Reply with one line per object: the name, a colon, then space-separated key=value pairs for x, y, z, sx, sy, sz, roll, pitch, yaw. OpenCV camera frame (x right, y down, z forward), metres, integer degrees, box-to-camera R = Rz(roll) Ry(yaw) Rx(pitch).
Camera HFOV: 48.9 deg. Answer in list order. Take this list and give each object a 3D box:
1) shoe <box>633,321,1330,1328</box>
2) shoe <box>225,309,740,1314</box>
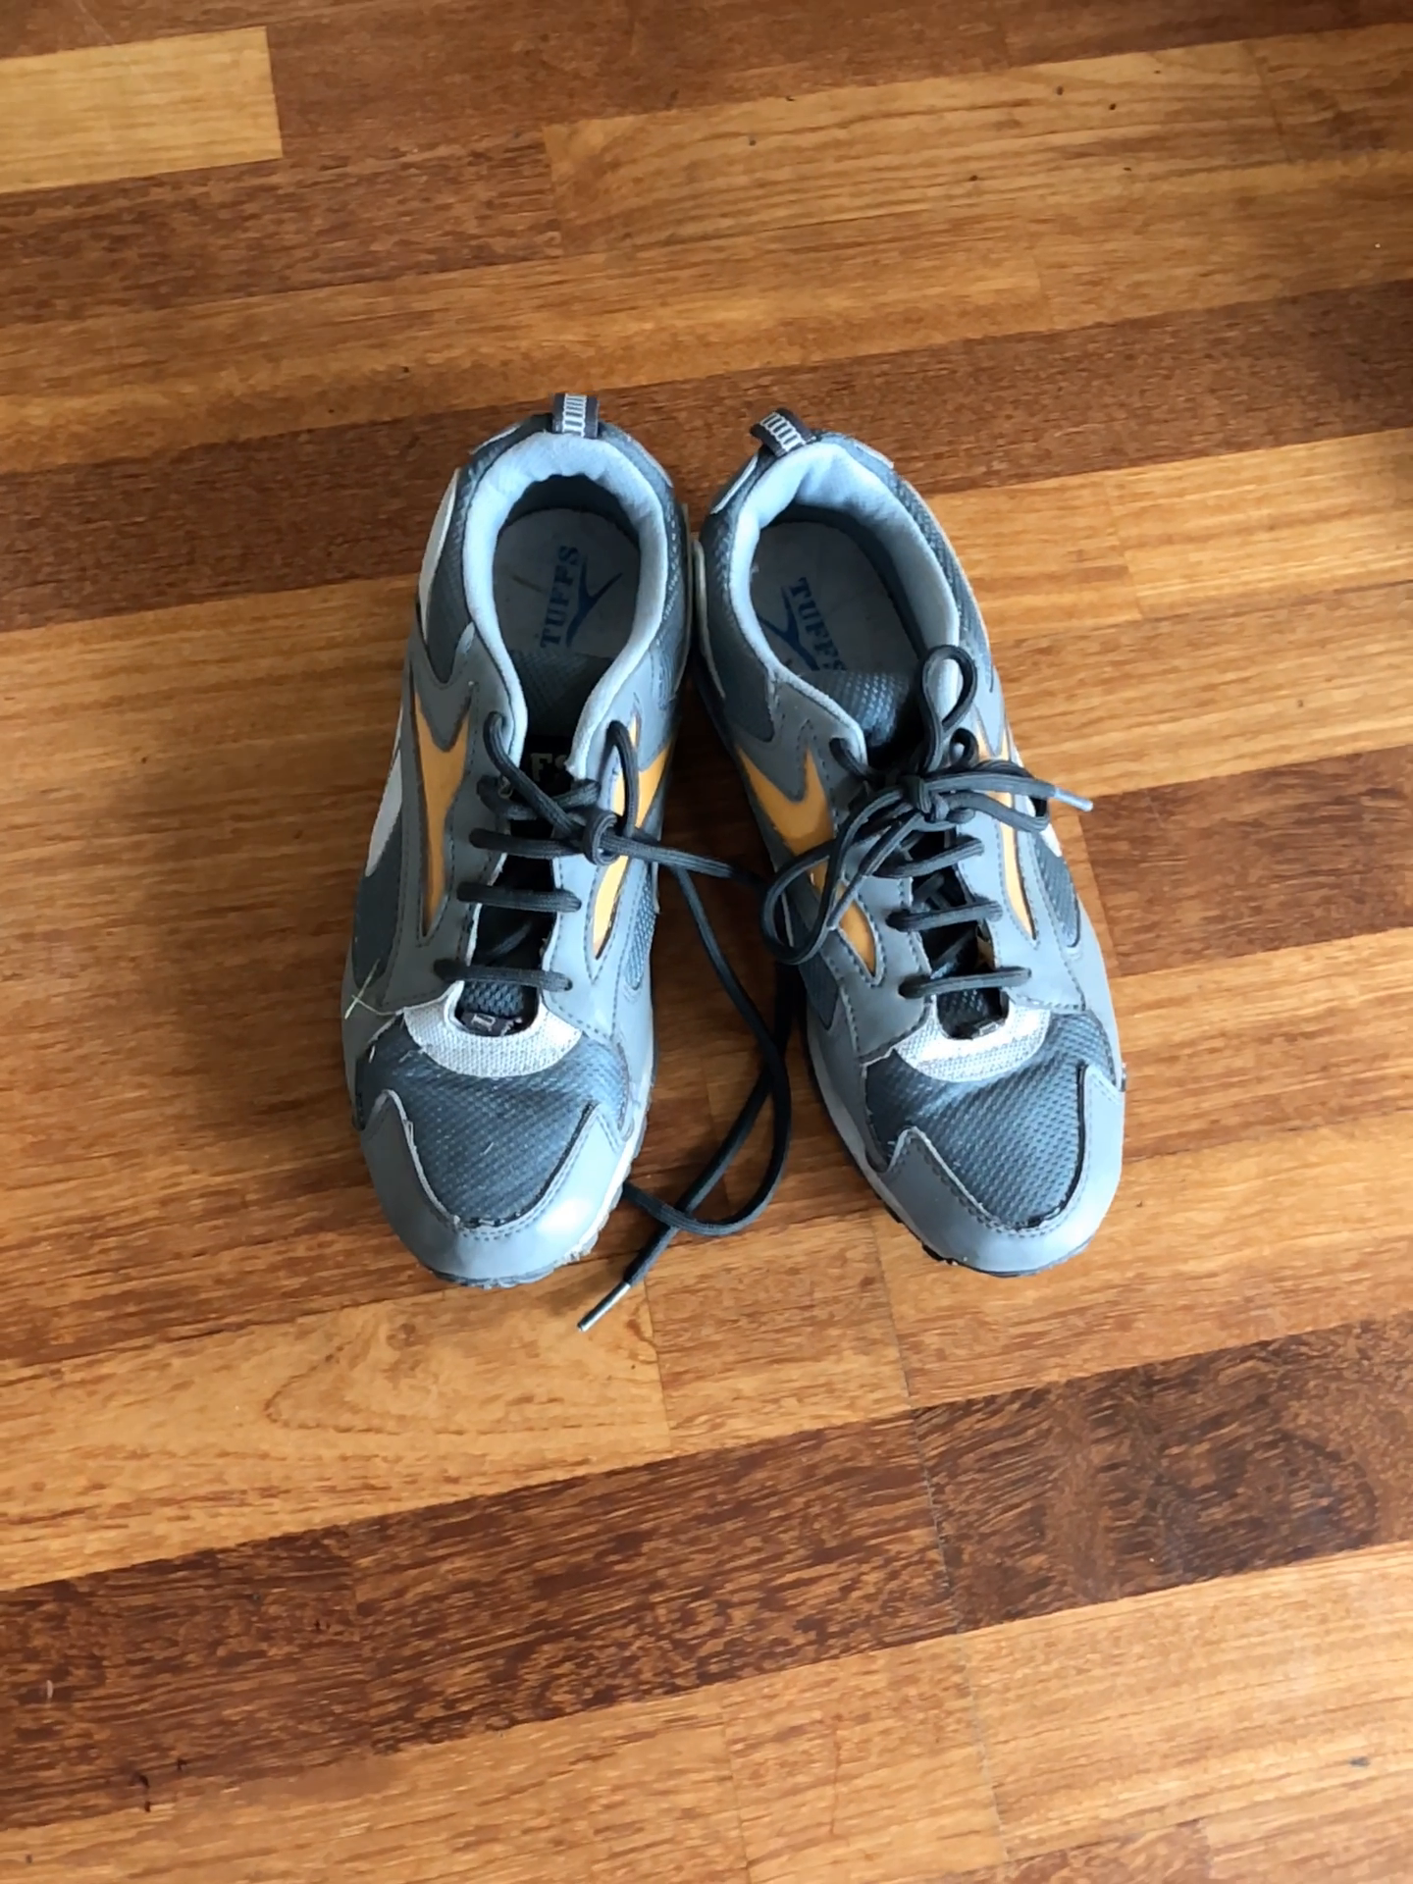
shoe: x=0.070 y=-0.037 z=0.491 sx=0.112 sy=0.099 sz=0.284 roll=-14 pitch=74 yaw=-10
shoe: x=-0.059 y=-0.038 z=0.474 sx=0.110 sy=0.088 sz=0.283 roll=6 pitch=73 yaw=-4
